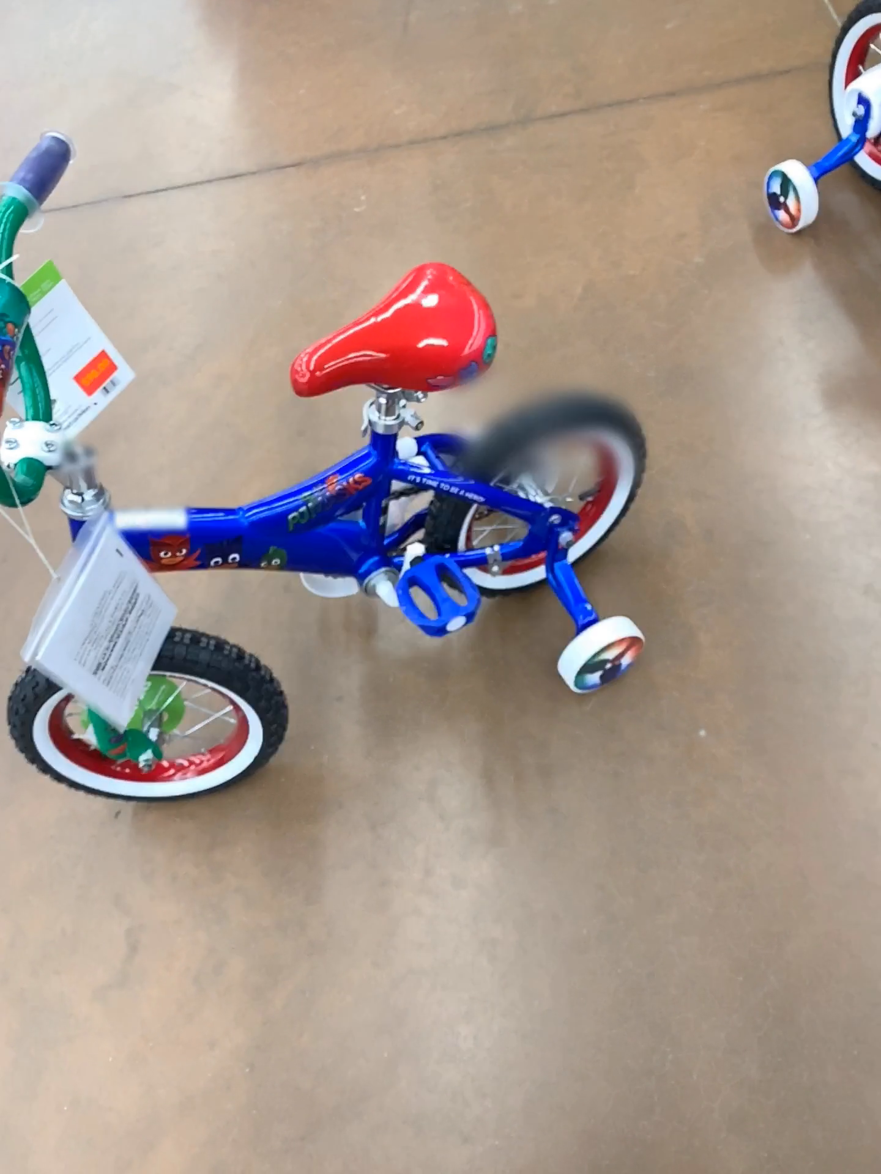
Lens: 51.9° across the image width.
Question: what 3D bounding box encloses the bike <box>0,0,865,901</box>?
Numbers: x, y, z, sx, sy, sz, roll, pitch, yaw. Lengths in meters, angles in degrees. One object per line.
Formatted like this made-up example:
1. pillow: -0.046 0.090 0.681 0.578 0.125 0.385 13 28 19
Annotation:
1. bike: -0.151 -0.136 0.952 0.793 0.695 0.466 -26 57 -5
